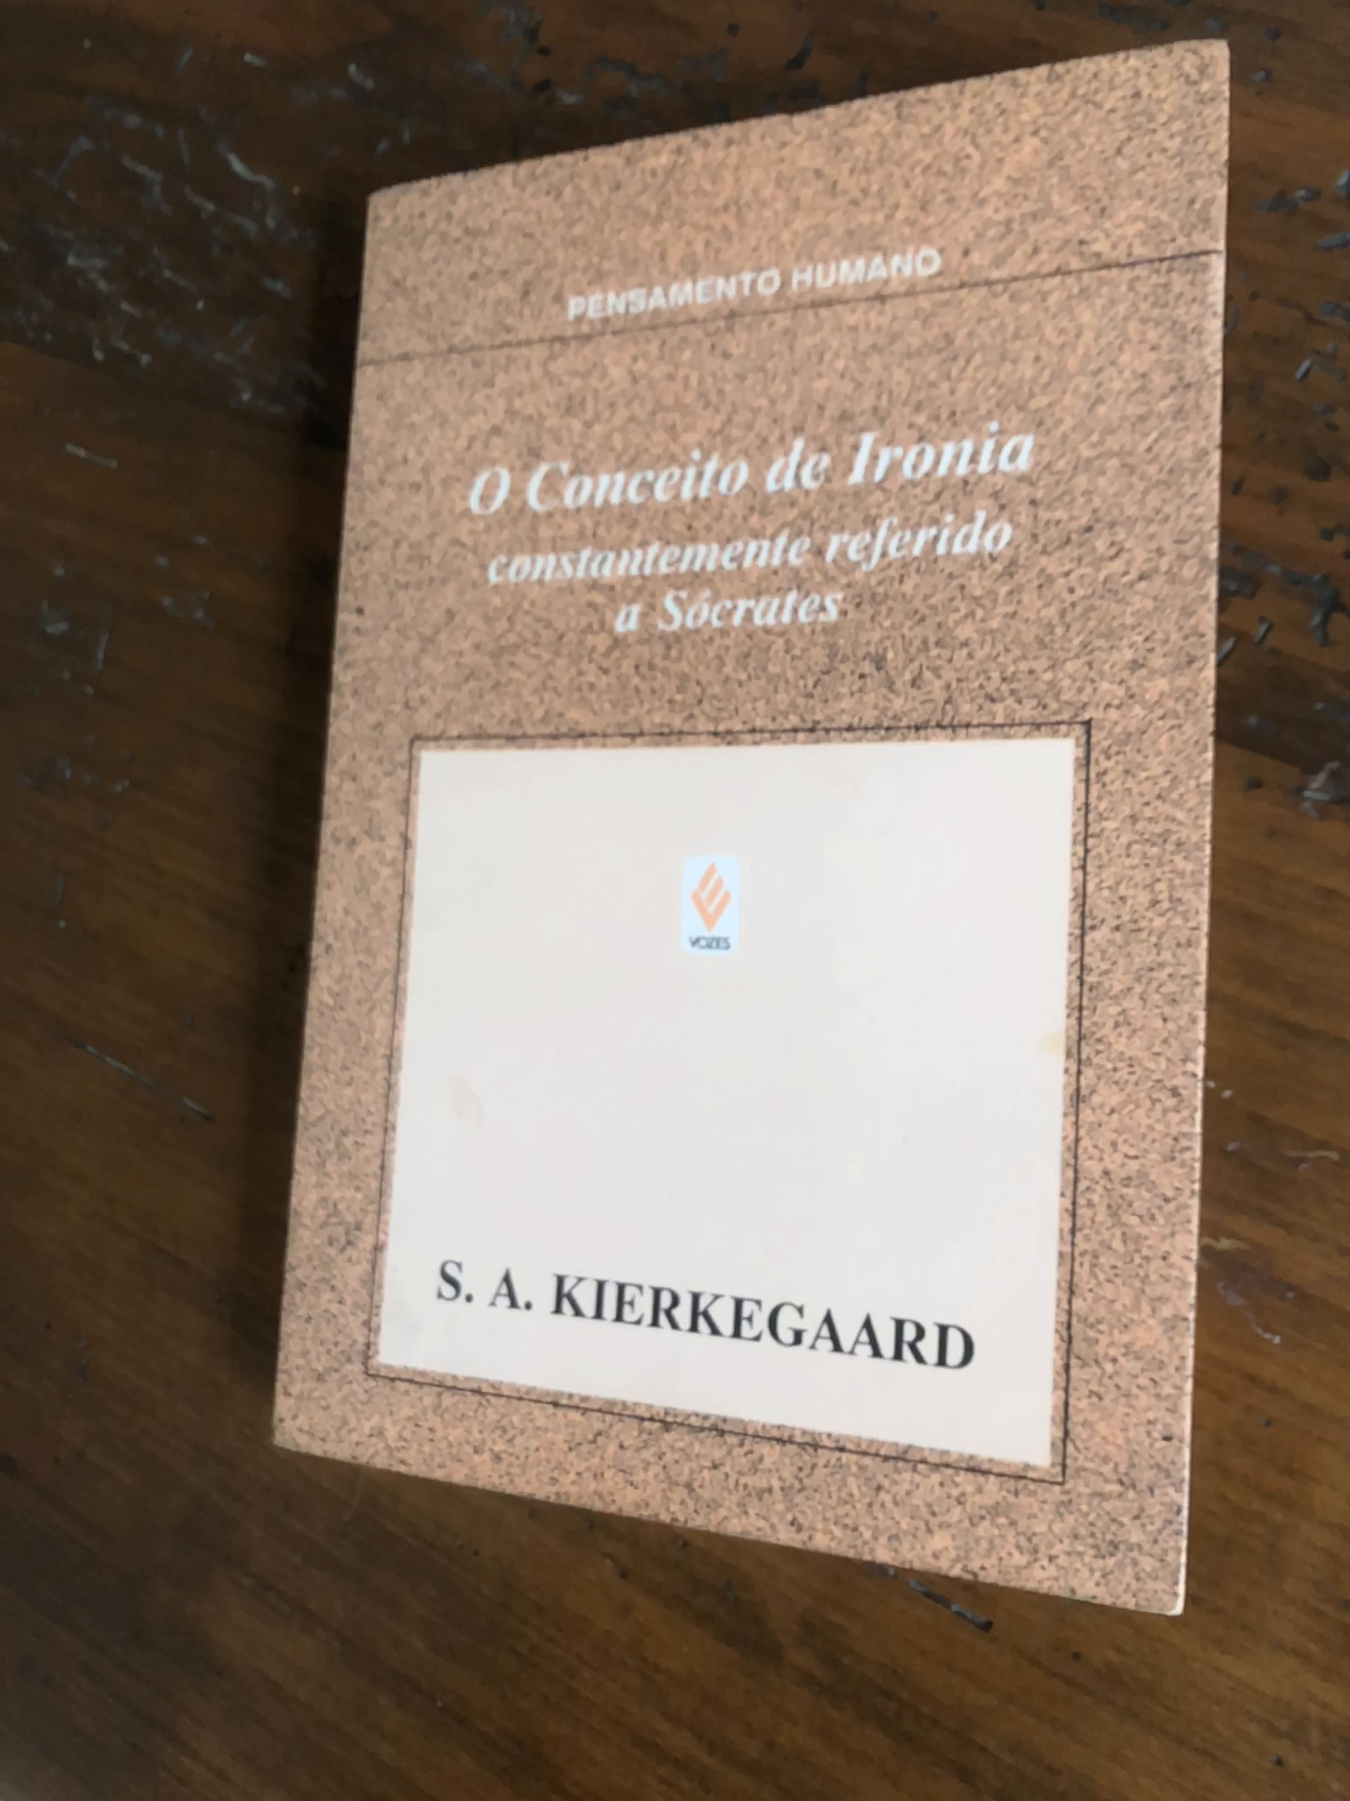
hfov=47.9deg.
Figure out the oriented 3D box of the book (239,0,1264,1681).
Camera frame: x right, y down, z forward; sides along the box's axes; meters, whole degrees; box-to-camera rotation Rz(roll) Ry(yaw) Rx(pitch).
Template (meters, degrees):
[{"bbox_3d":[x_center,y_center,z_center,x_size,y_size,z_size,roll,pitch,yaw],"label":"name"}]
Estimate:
[{"bbox_3d":[0.010,-0.015,0.232,0.144,0.024,0.220,2,85,22],"label":"book"}]
